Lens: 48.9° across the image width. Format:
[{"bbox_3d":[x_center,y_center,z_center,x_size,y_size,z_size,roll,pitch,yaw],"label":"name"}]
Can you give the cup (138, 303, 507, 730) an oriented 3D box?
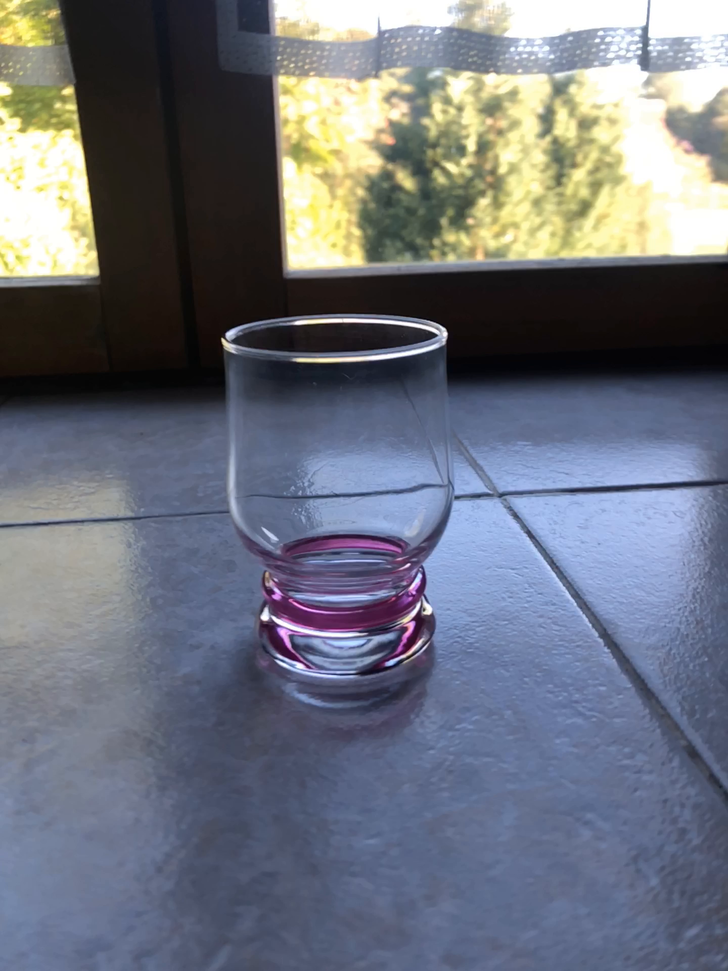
[{"bbox_3d":[-0.013,0.001,0.259,0.079,0.102,0.079,0,21,0],"label":"cup"}]
